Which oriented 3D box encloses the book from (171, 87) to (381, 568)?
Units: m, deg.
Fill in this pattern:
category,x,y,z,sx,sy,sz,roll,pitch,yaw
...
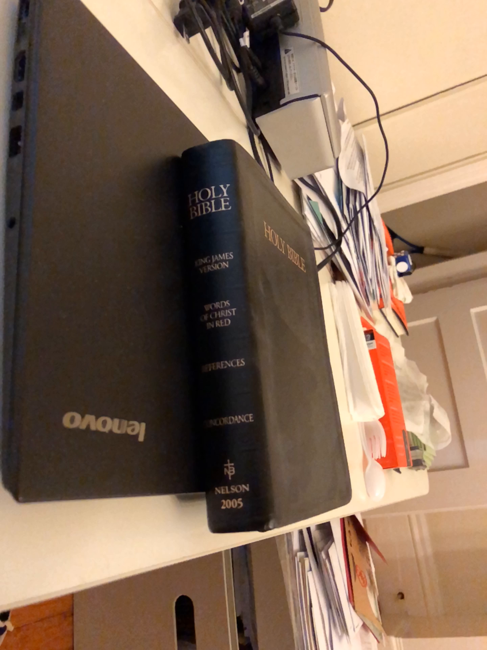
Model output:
category,x,y,z,sx,sy,sz,roll,pitch,yaw
book,0.027,0.007,0.341,0.171,0.040,0.240,26,54,-61
